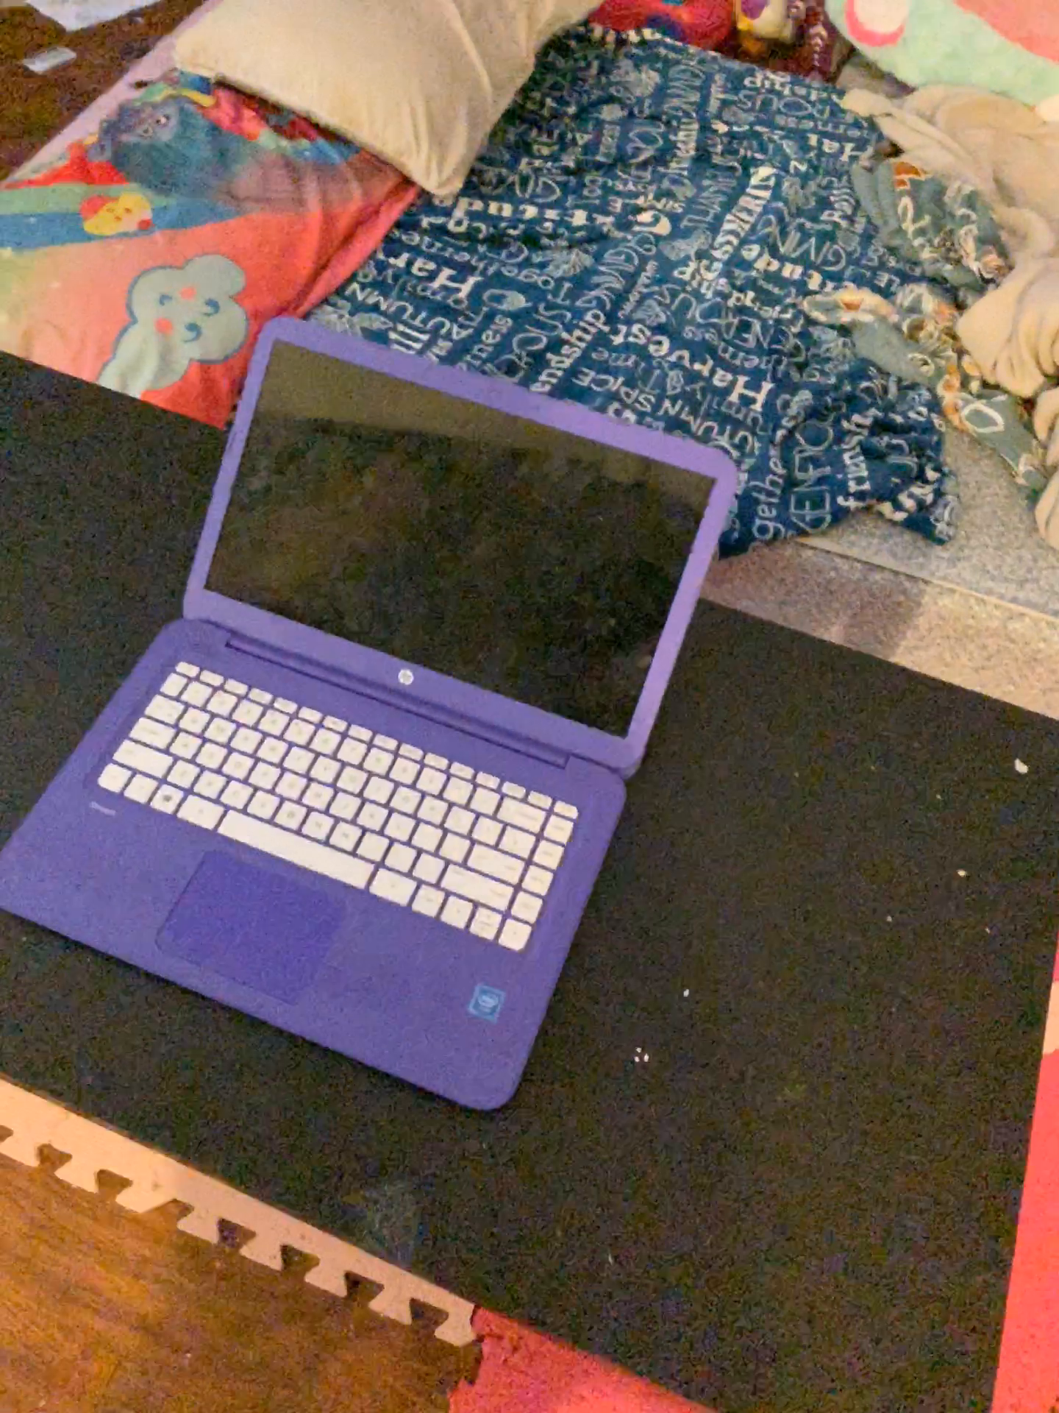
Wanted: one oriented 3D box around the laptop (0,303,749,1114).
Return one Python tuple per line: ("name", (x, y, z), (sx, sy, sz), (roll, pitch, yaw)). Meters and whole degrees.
("laptop", (-0.095, -0.026, 0.665), (0.339, 0.132, 0.398), (20, 59, 9))
